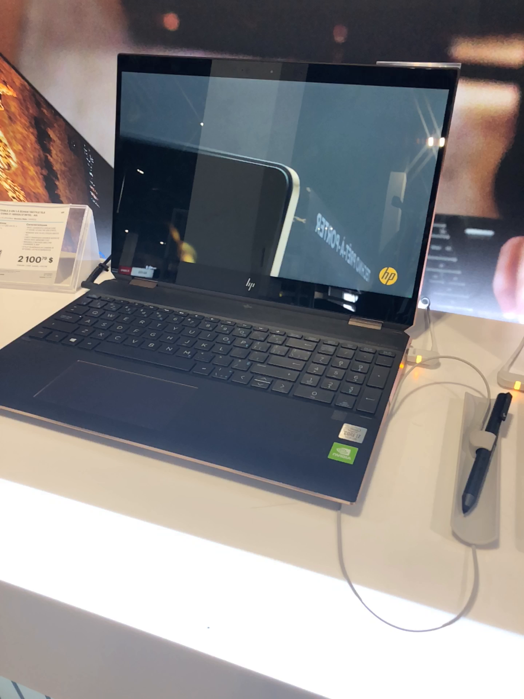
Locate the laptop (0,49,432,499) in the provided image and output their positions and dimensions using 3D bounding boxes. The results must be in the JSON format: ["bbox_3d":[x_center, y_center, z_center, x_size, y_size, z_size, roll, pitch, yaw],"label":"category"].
[{"bbox_3d":[-0.055,-0.110,0.488,0.333,0.226,0.323,12,31,15],"label":"laptop"}]
